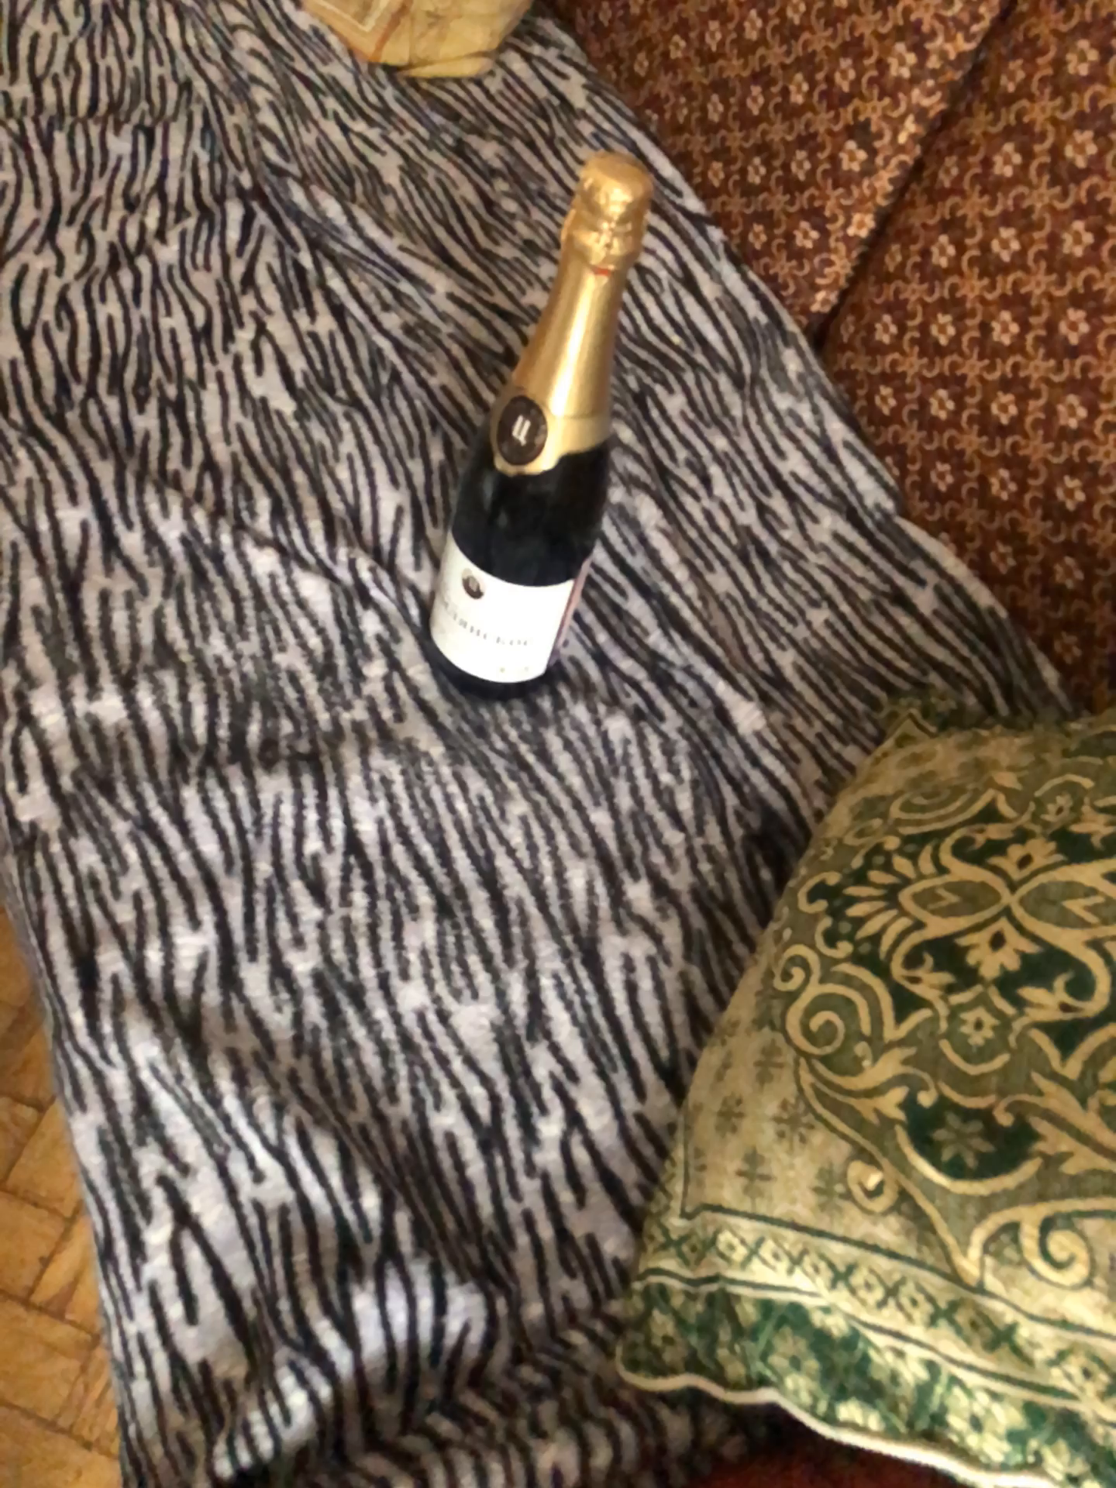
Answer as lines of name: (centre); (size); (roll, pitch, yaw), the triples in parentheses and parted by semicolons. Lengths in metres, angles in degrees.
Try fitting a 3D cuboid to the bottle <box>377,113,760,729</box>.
bottle: (-0.010, -0.149, 0.619); (0.100, 0.279, 0.100); (7, 51, -9)
